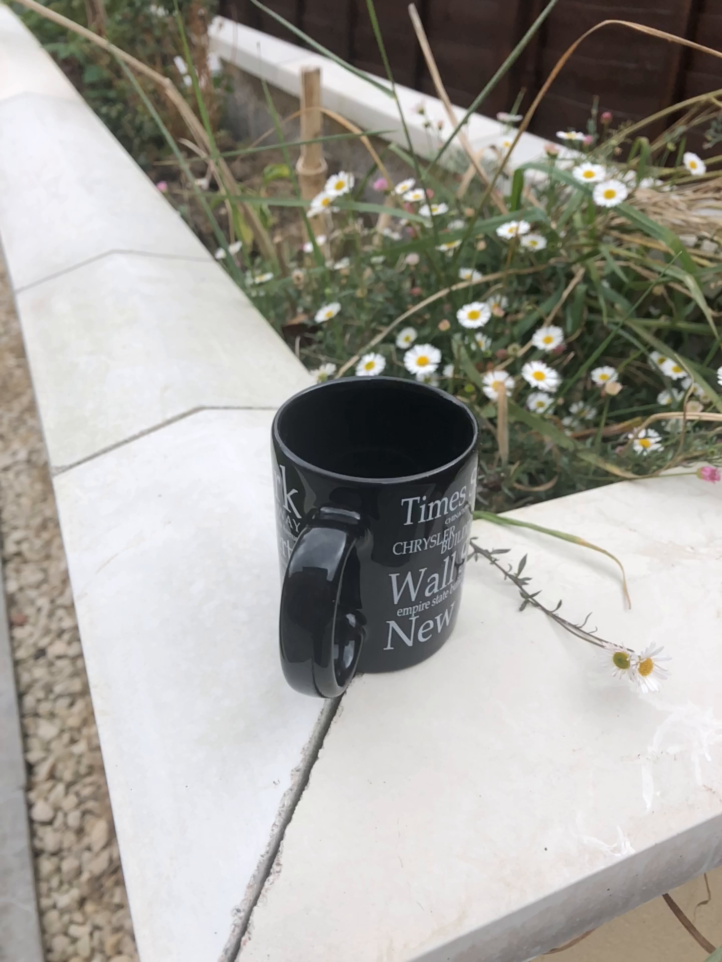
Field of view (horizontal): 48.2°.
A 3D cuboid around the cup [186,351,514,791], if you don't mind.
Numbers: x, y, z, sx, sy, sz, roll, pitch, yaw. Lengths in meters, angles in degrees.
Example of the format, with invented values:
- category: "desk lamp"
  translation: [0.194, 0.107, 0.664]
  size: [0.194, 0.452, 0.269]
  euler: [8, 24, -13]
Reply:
- category: "cup"
  translation: [0.002, 0.018, 0.223]
  size: [0.060, 0.069, 0.091]
  euler: [10, 34, 12]
